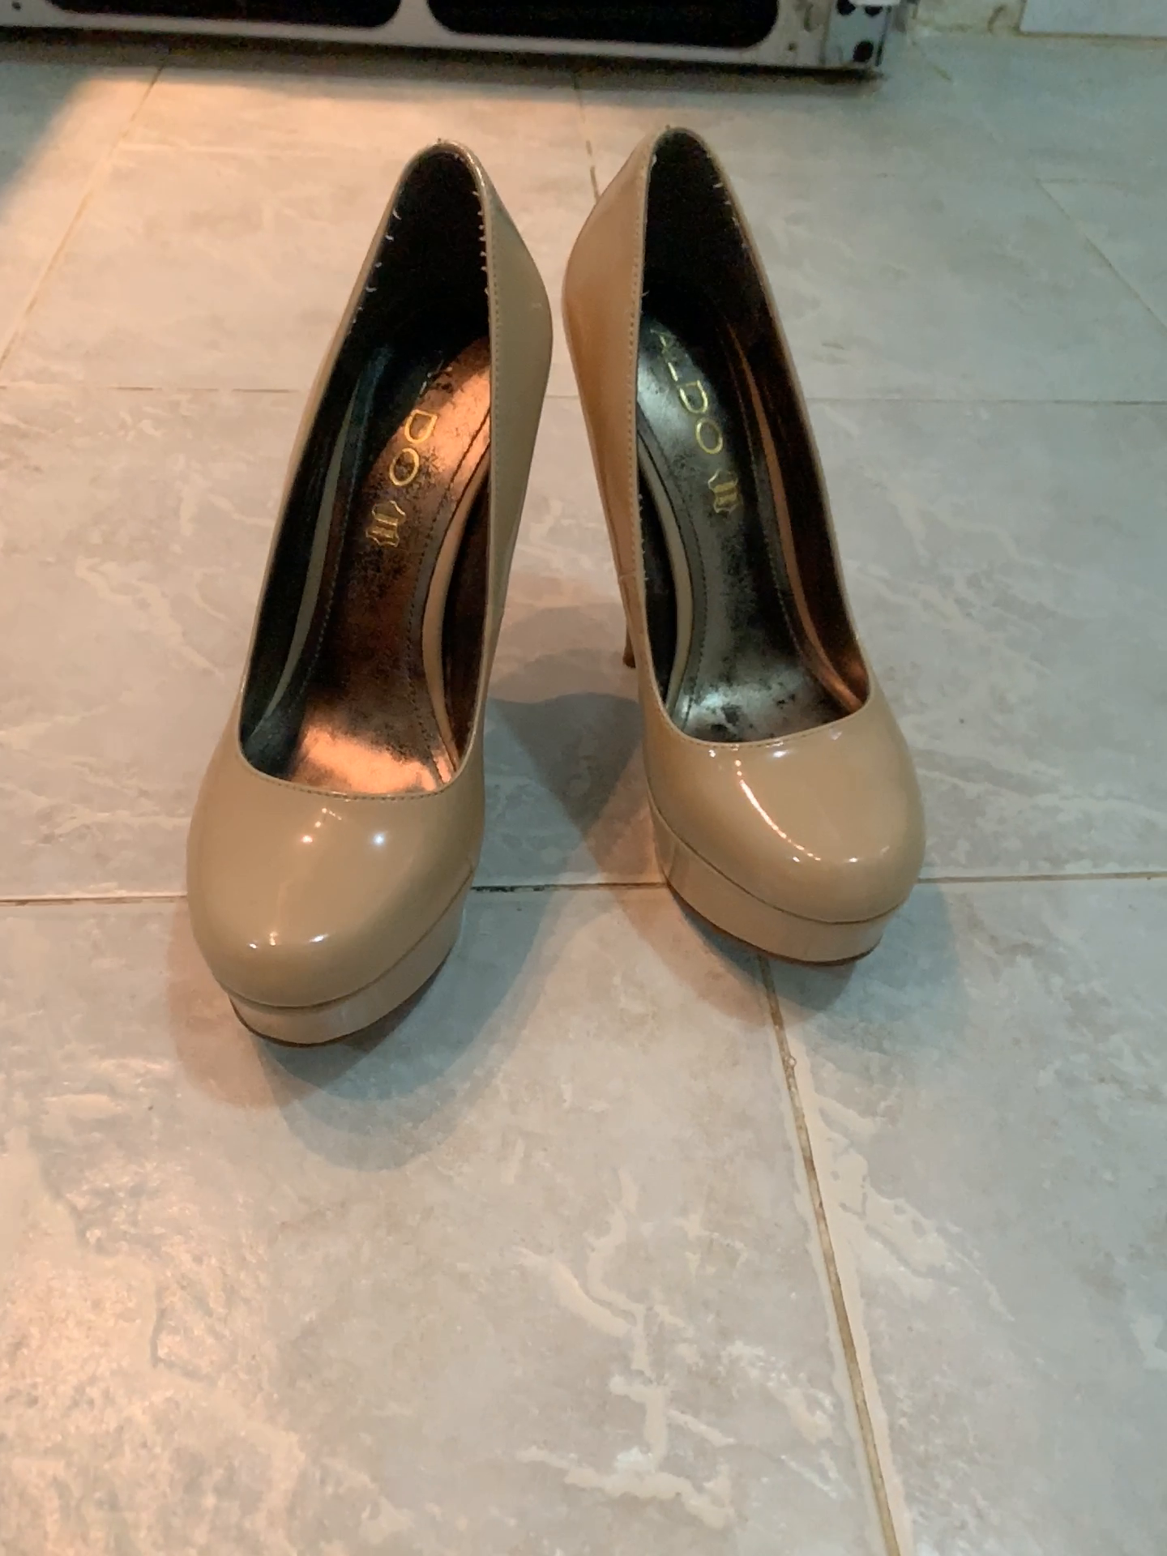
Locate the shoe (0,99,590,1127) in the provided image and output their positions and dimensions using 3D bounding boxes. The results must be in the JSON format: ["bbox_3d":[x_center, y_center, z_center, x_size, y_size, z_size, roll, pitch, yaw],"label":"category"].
[{"bbox_3d":[-0.057,-0.050,0.324,0.087,0.176,0.211,6,46,2],"label":"shoe"}]

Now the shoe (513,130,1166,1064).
[{"bbox_3d":[0.047,-0.061,0.348,0.087,0.166,0.211,-9,47,-13],"label":"shoe"}]
